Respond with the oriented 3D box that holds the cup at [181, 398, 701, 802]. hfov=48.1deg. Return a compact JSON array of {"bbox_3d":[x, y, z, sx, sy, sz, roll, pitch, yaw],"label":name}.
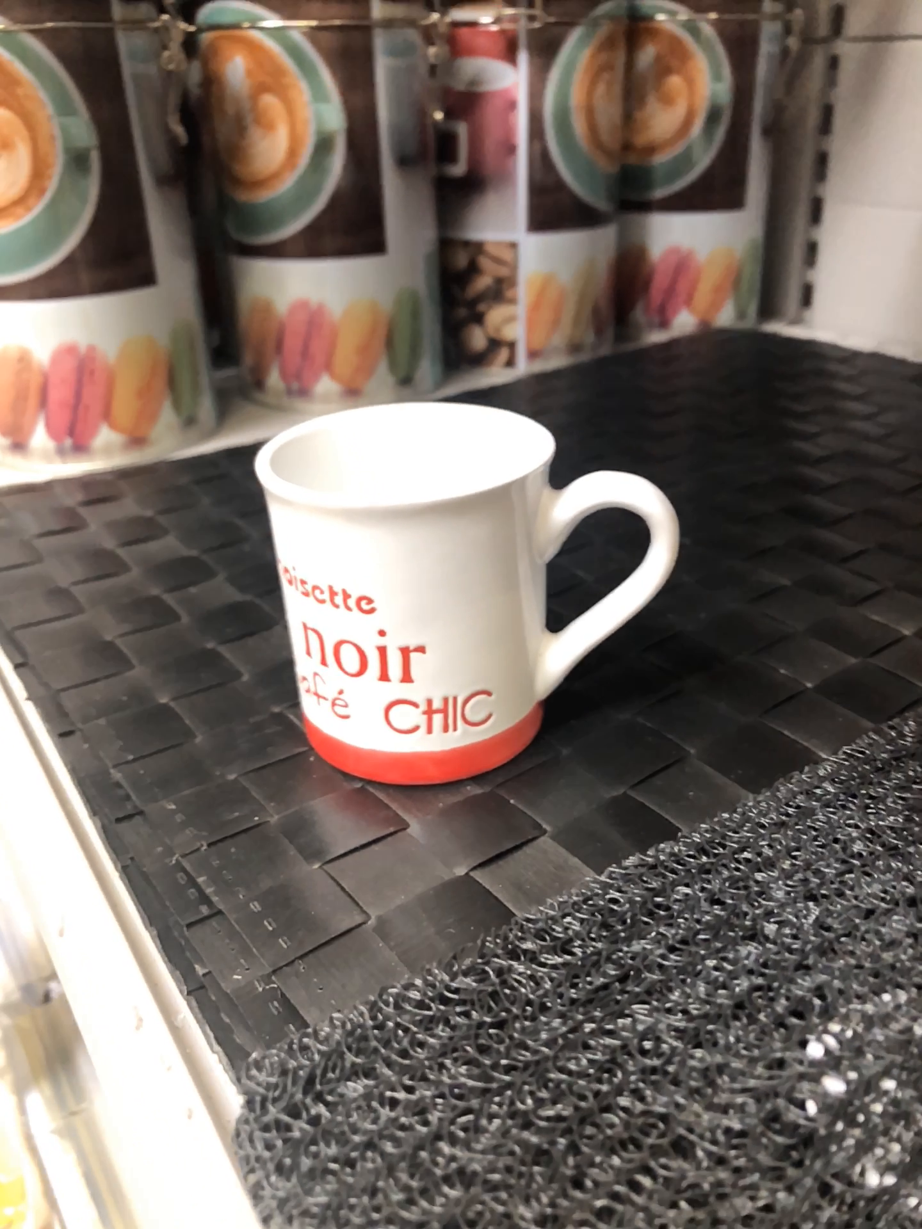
[{"bbox_3d":[0.001,-0.007,0.233,0.096,0.064,0.068,2,29,9],"label":"cup"}]
